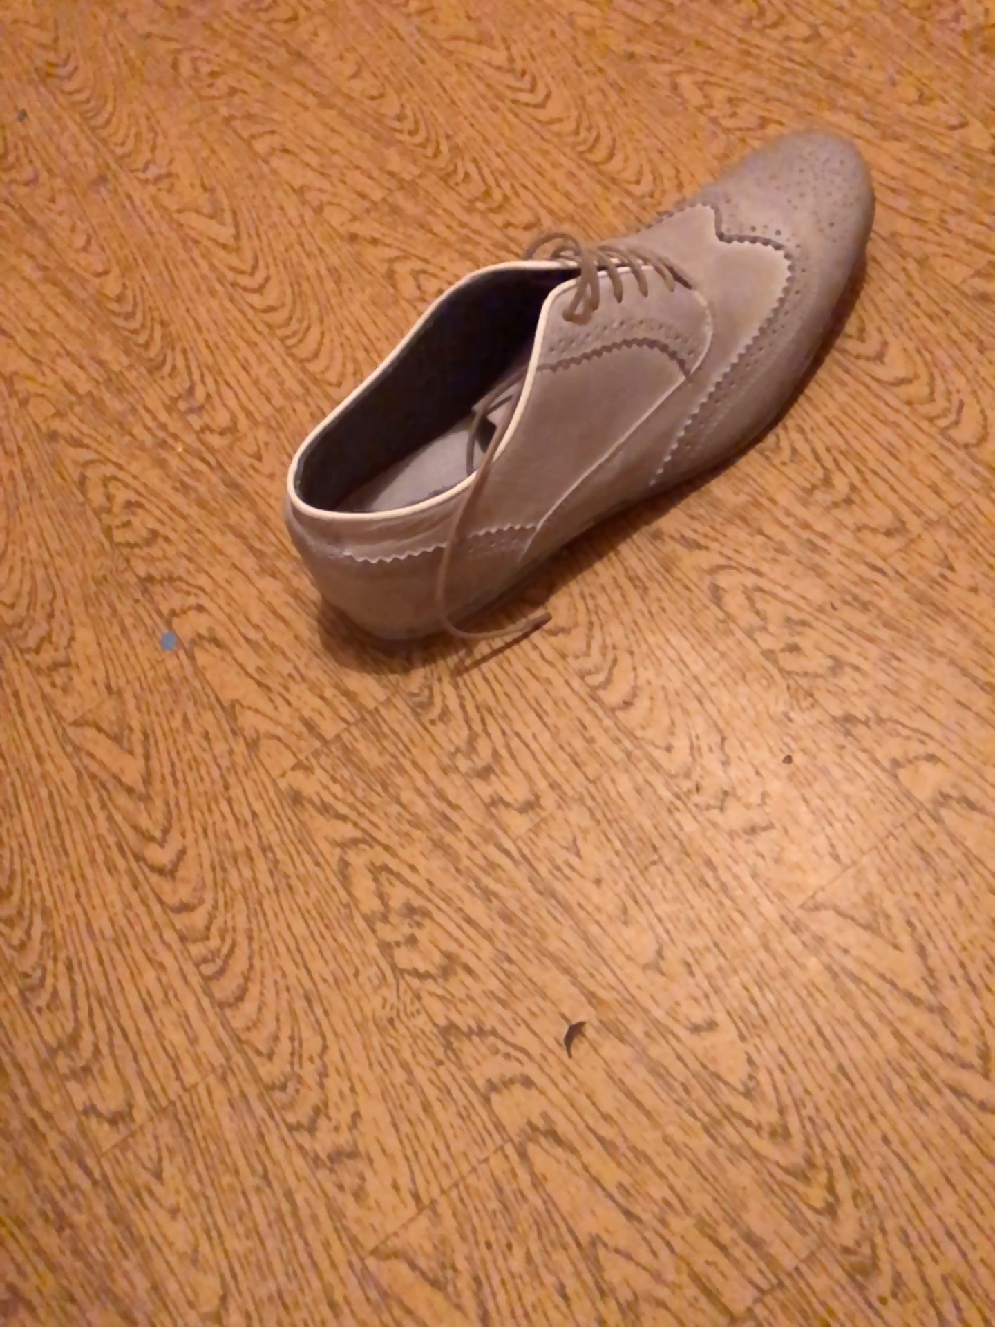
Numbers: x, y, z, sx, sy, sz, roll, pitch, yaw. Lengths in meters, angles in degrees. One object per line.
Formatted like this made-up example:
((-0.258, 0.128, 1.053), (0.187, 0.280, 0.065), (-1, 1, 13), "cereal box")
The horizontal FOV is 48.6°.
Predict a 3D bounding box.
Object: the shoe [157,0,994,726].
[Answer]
((0.038, -0.128, 0.437), (0.300, 0.110, 0.110), (-39, 64, -10), "shoe")
